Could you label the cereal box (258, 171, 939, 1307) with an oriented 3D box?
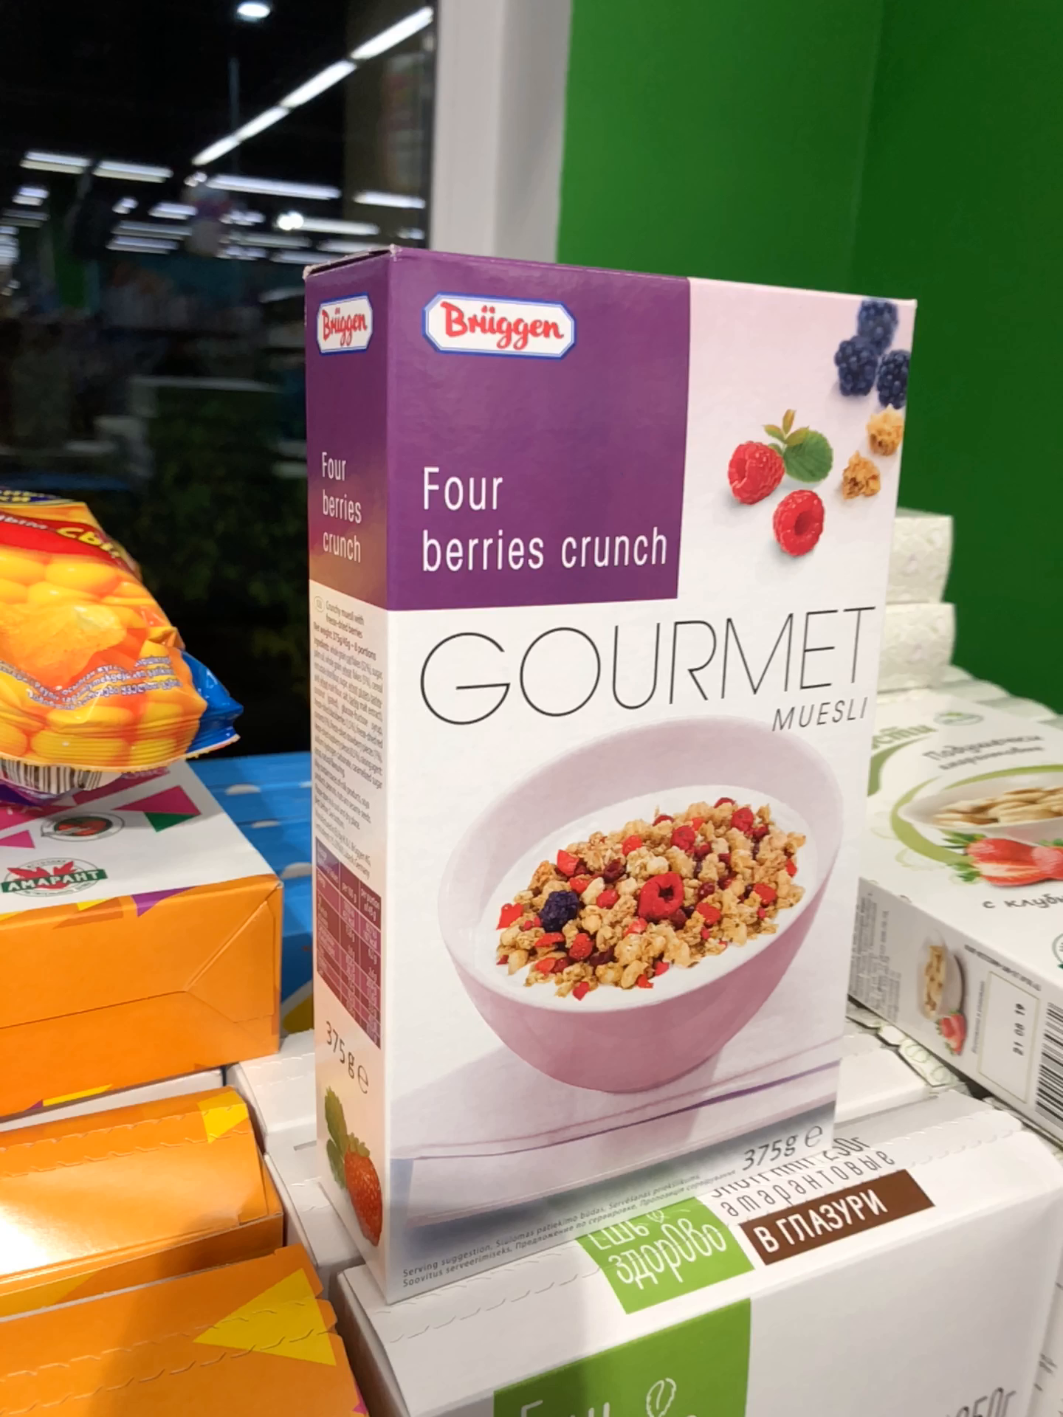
[{"bbox_3d":[0.016,0.005,0.276,0.140,0.219,0.050,-6,15,-29],"label":"cereal box"}]
